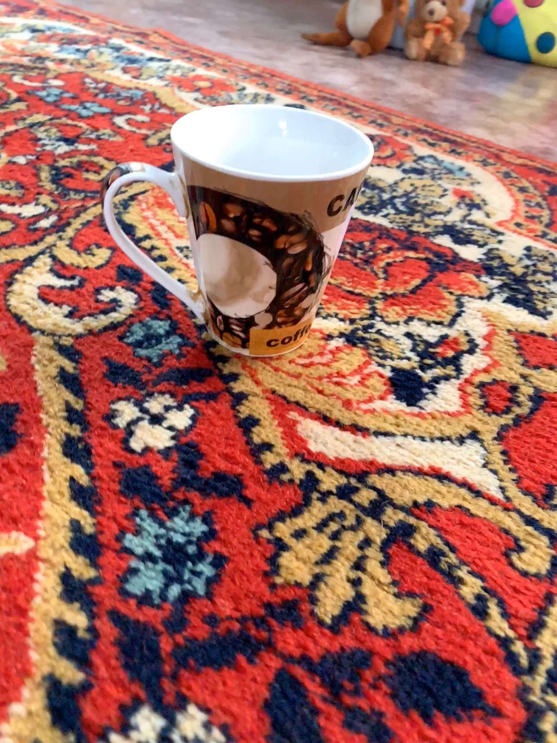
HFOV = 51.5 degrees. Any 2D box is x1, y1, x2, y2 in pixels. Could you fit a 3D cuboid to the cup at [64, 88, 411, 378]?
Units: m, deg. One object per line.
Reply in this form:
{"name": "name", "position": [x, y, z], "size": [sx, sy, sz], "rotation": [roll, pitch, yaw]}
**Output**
{"name": "cup", "position": [-0.023, -0.058, 0.234], "size": [0.110, 0.079, 0.081], "rotation": [-5, 40, -16]}
